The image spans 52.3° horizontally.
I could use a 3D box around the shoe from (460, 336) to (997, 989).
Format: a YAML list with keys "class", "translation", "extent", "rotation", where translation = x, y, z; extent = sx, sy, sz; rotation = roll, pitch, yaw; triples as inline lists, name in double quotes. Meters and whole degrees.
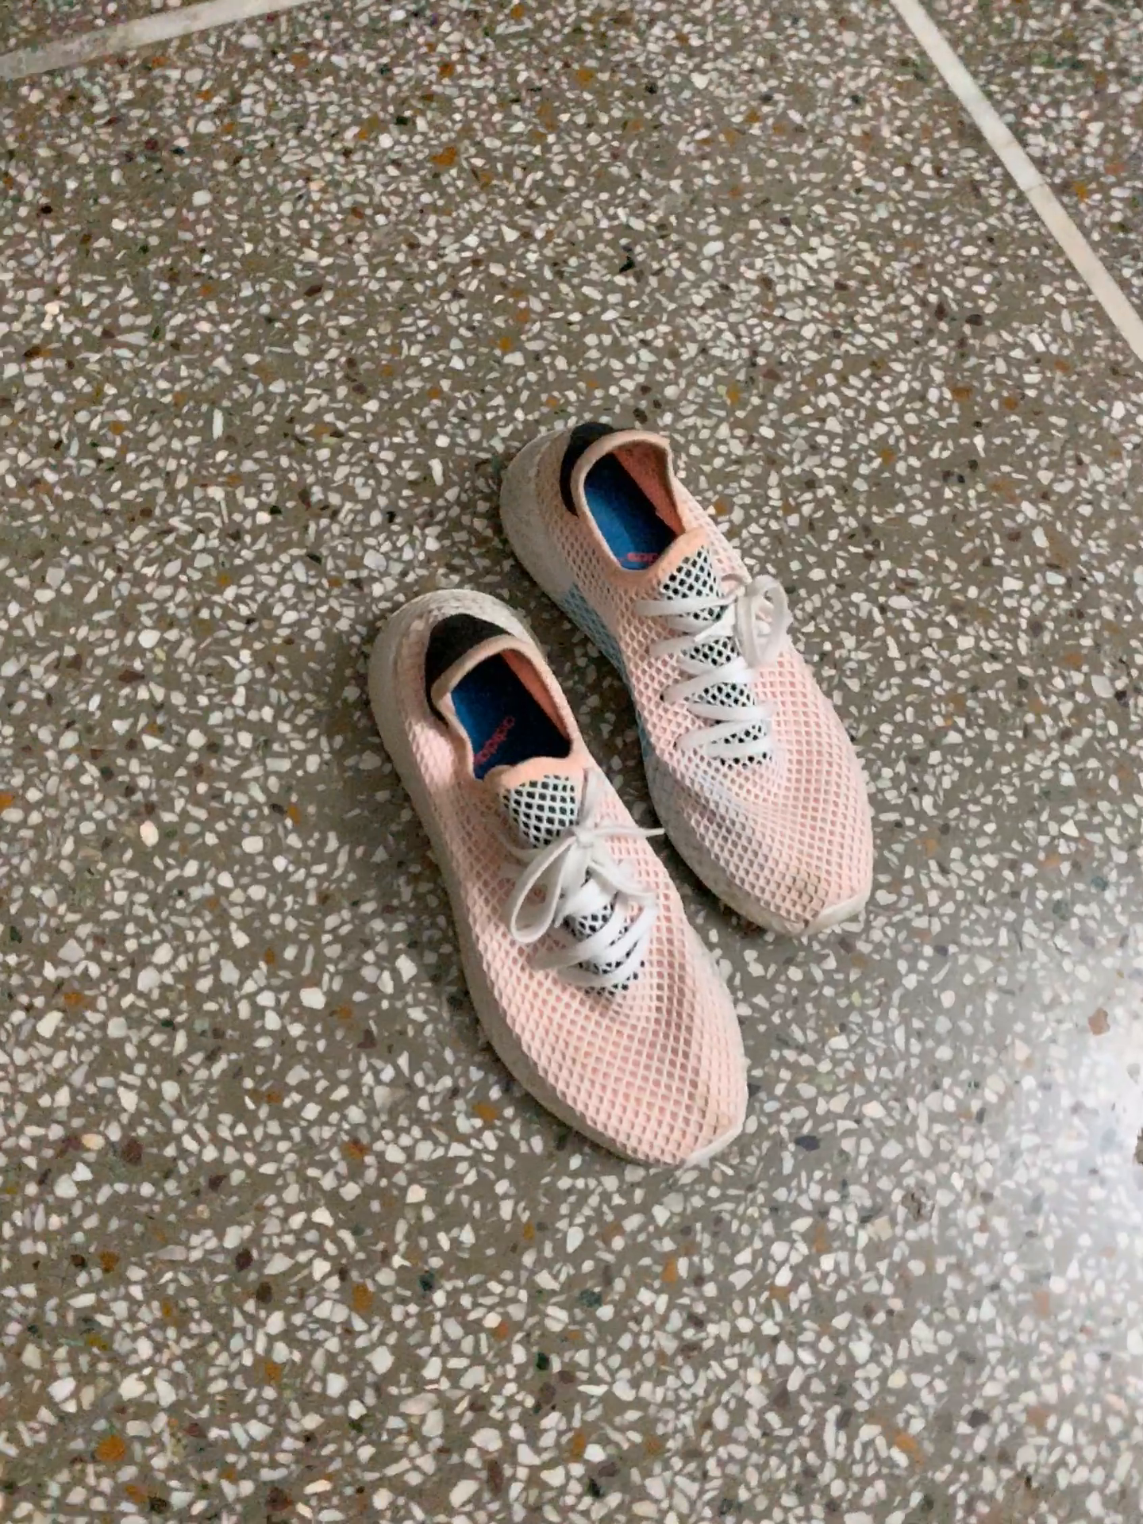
- class: "shoe"
  translation: [0.068, -0.052, 0.617]
  extent: [0.122, 0.100, 0.310]
  rotation: [-27, 78, -13]

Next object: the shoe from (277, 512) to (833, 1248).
- class: "shoe"
  translation: [-0.017, 0.052, 0.566]
  extent: [0.122, 0.100, 0.310]
  rotation: [-25, 77, -12]
